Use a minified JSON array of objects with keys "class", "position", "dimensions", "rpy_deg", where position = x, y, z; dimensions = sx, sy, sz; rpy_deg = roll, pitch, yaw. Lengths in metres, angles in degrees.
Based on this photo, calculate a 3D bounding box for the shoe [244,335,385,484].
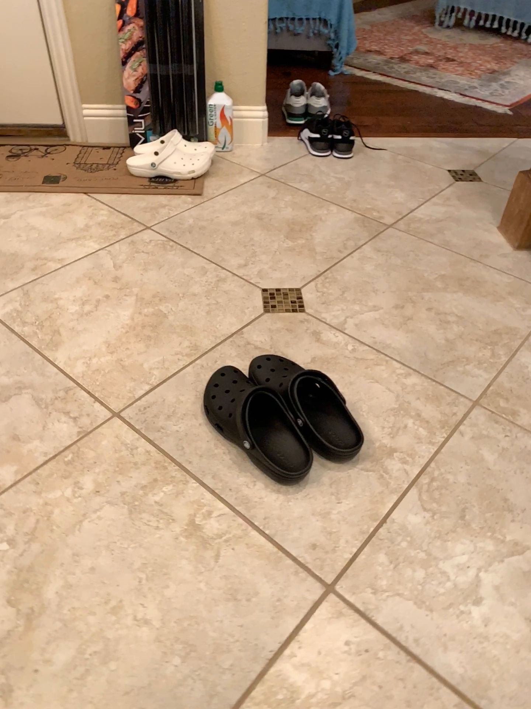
[{"class":"shoe","position":[0.080,0.090,1.013],"dimensions":[0.113,0.085,0.279],"rpy_deg":[-21,46,-24]}]

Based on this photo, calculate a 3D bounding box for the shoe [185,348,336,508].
[{"class":"shoe","position":[-0.018,0.119,0.973],"dimensions":[0.124,0.085,0.279],"rpy_deg":[-24,48,-27]}]
